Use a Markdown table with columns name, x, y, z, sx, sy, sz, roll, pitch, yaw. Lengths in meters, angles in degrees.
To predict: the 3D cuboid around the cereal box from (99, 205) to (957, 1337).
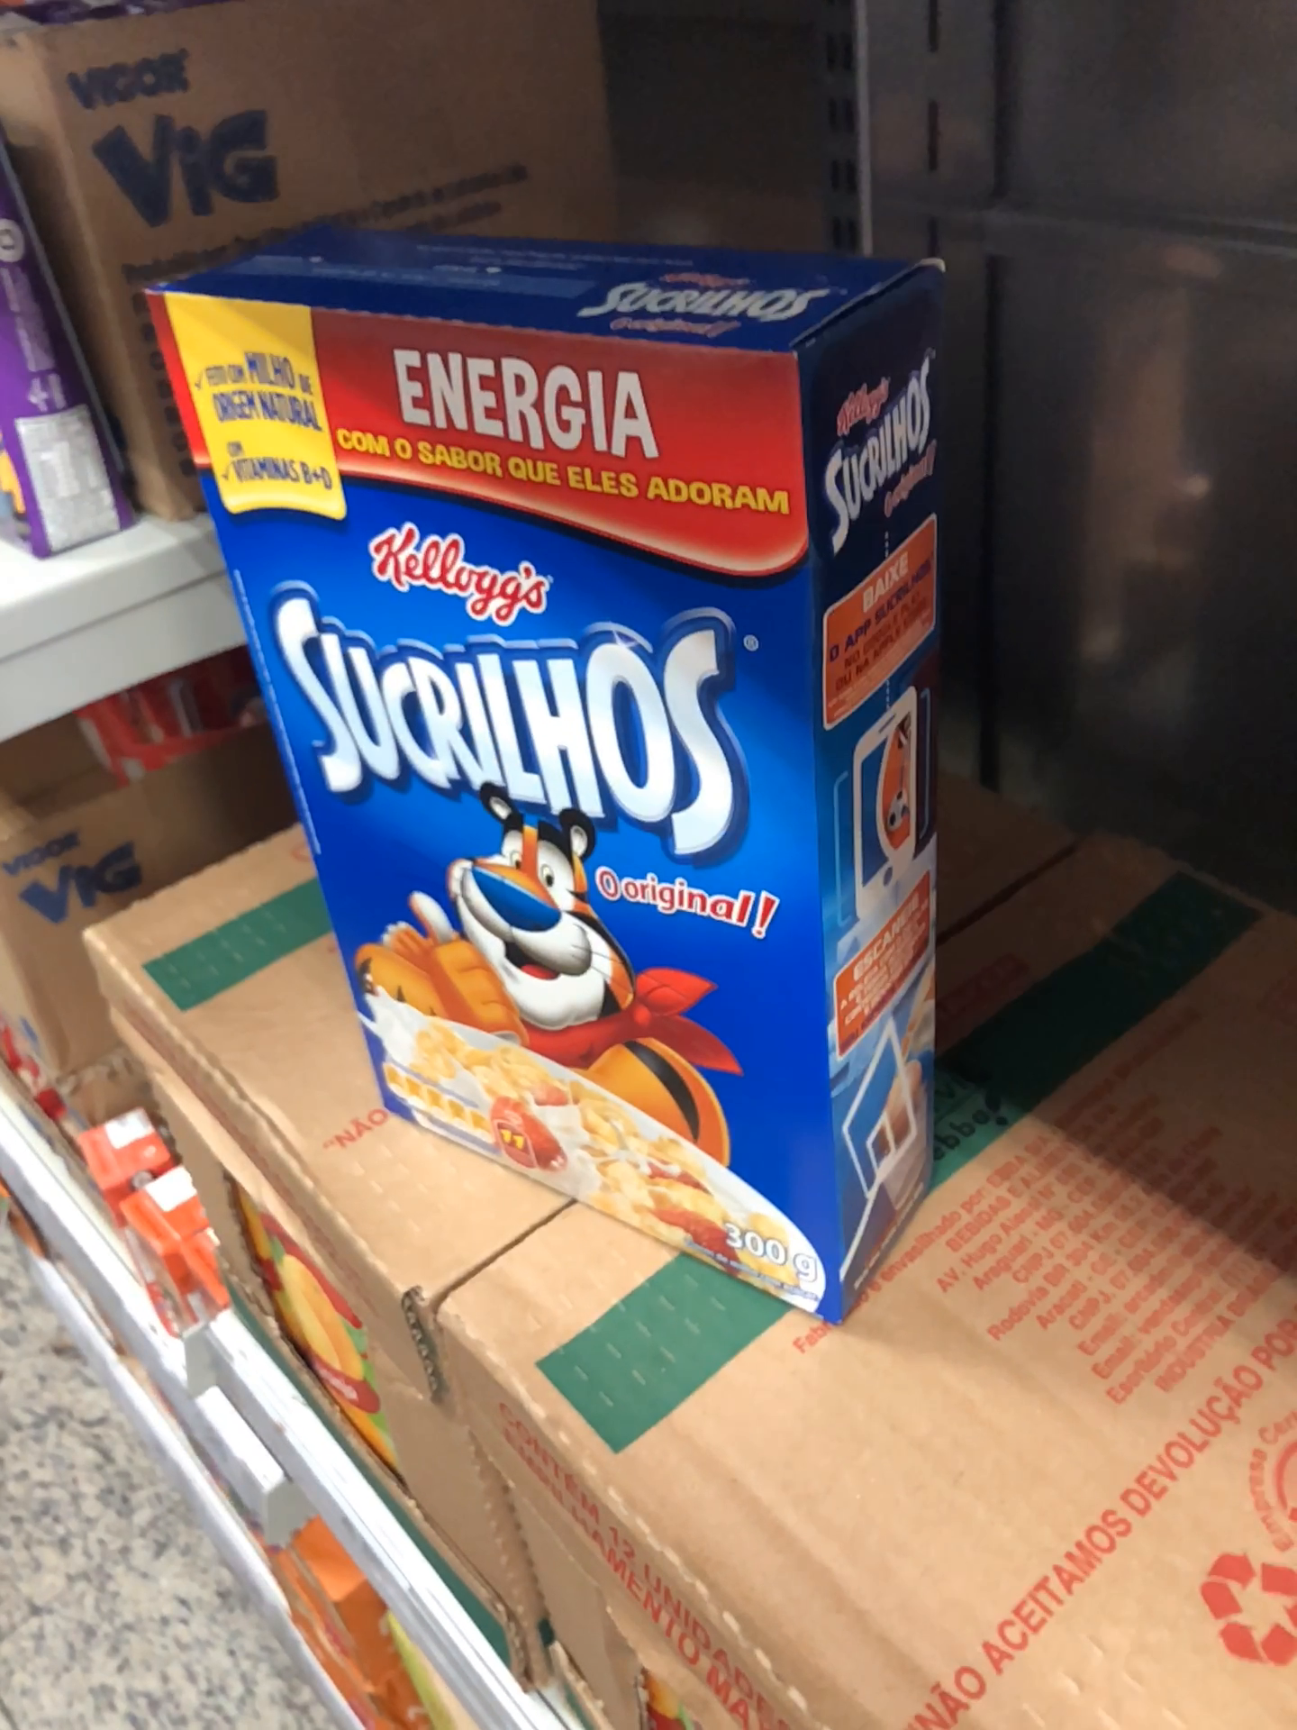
| name | x | y | z | sx | sy | sz | roll | pitch | yaw |
| --- | --- | --- | --- | --- | --- | --- | --- | --- | --- |
| cereal box | -0.016 | -0.020 | 0.355 | 0.170 | 0.248 | 0.060 | 18 | 44 | 32 |
